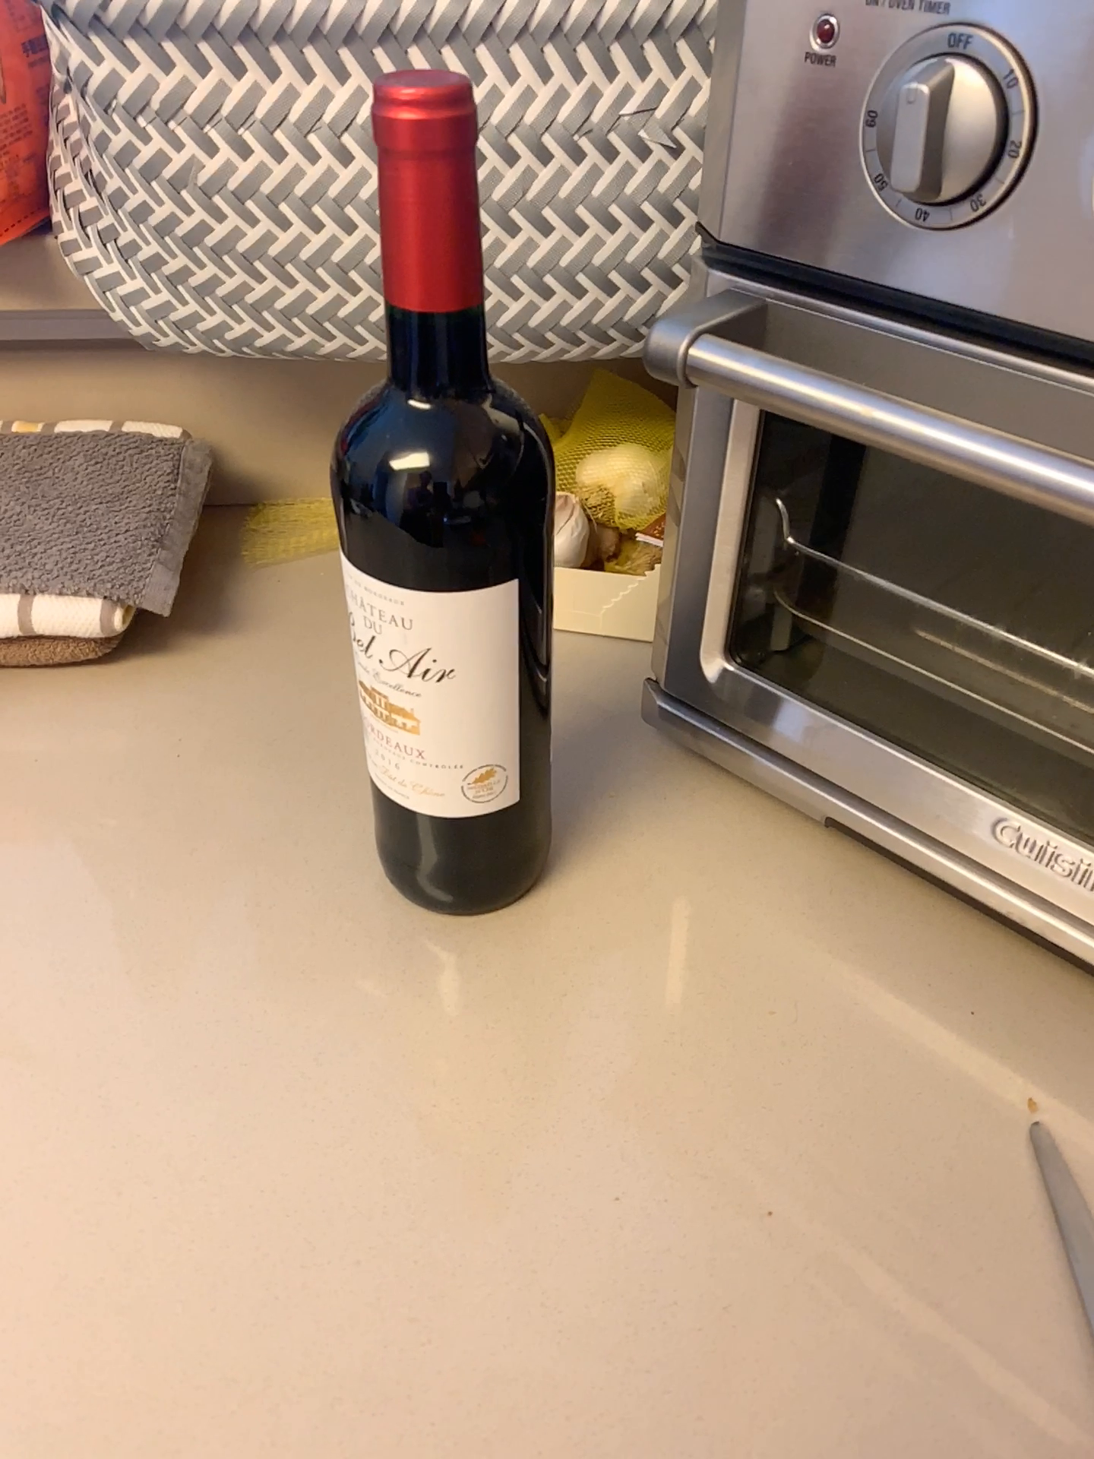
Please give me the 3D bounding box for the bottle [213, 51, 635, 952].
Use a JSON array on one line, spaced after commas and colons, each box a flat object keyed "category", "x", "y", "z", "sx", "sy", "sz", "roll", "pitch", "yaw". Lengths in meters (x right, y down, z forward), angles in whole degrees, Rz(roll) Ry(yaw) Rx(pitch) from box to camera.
[{"category": "bottle", "x": -0.033, "y": -0.061, "z": 0.393, "sx": 0.080, "sy": 0.288, "sz": 0.080, "roll": 0, "pitch": 39, "yaw": 0}]
